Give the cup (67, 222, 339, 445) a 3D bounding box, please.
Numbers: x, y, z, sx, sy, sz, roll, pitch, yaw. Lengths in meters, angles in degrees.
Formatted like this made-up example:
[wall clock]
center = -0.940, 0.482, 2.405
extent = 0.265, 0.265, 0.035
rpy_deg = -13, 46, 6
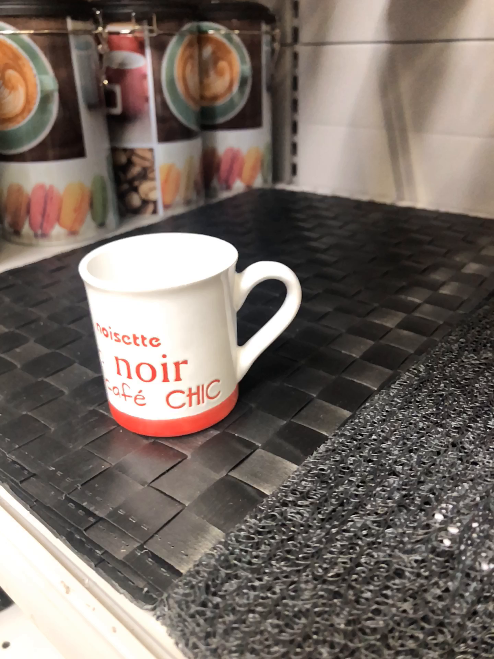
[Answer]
[cup]
center = -0.018, -0.002, 0.241
extent = 0.096, 0.064, 0.068
rpy_deg = -5, 28, -6
